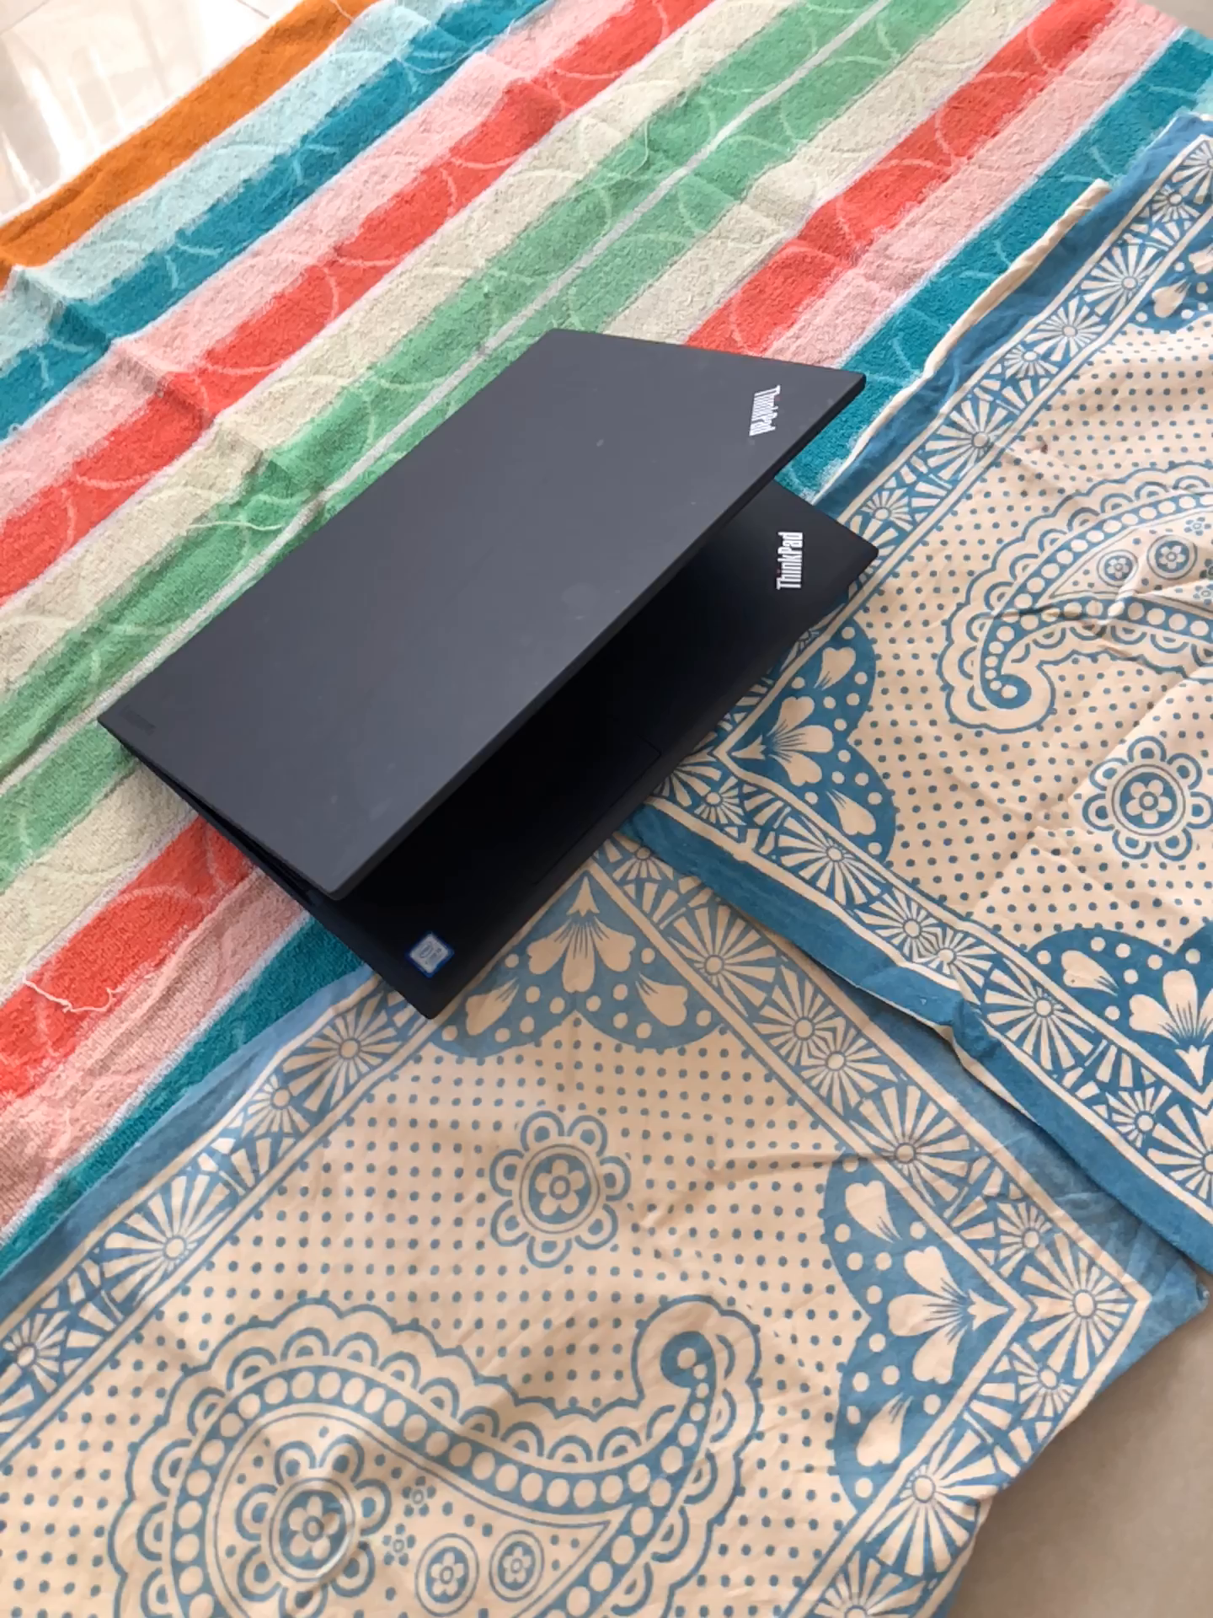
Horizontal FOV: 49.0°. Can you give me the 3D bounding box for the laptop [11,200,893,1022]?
[{"bbox_3d":[-0.064,-0.113,0.673,0.243,0.121,0.346,38,70,19],"label":"laptop"}]
